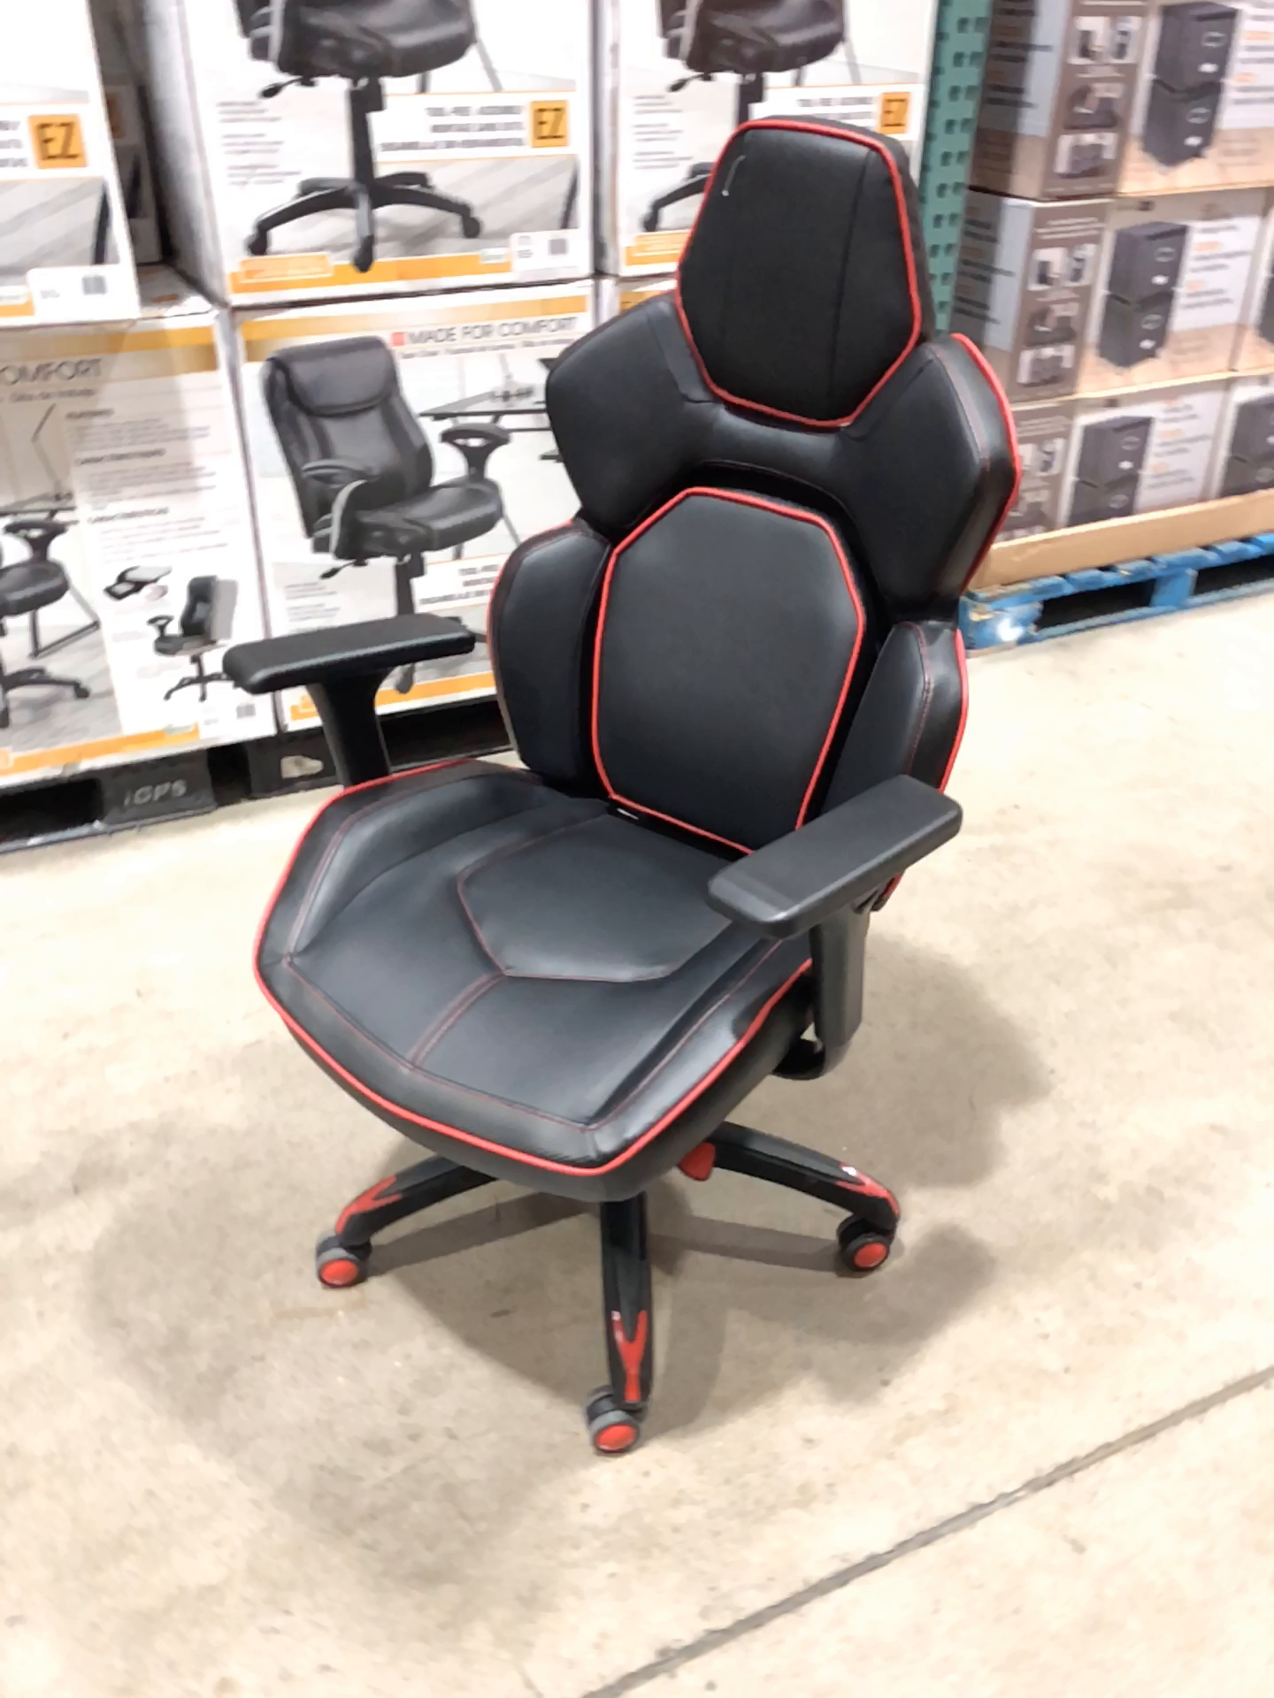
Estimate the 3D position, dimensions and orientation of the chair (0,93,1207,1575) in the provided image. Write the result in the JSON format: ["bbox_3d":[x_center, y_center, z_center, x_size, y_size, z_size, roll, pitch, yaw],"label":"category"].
[{"bbox_3d":[-0.014,-0.078,1.412,0.721,1.145,0.722,20,37,27],"label":"chair"}]
